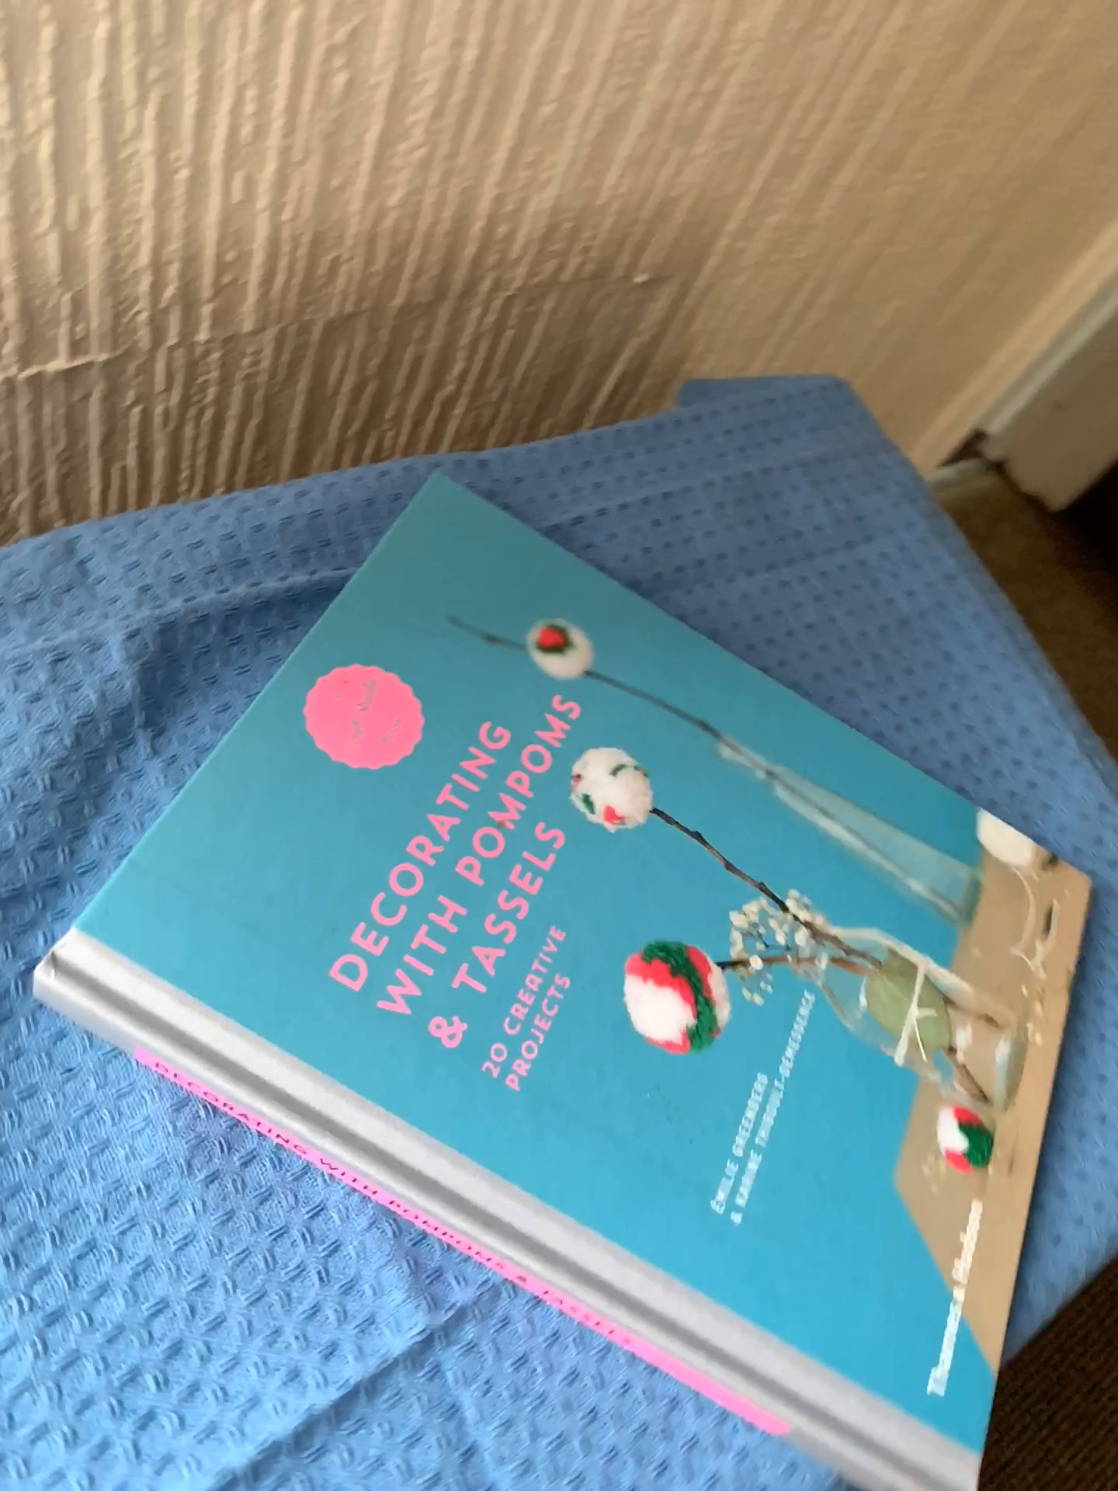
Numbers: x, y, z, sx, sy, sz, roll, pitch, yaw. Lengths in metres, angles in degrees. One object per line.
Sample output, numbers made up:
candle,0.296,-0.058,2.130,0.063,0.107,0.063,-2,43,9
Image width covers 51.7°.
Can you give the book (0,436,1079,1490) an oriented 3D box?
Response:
book,0.012,0.046,0.299,0.250,0.020,0.191,31,54,-3
